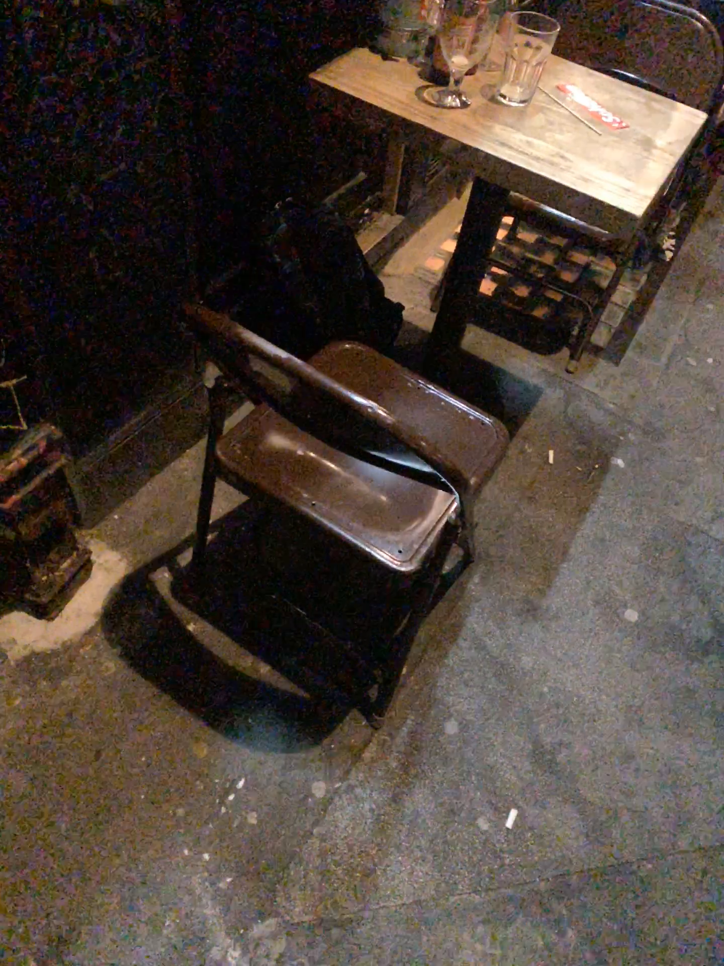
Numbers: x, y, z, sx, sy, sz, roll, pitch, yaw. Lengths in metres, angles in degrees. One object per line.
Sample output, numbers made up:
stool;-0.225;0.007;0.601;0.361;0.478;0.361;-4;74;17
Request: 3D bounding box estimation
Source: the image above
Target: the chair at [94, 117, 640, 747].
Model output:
chair;-0.005;-0.059;1.162;0.491;0.723;0.484;29;51;17
